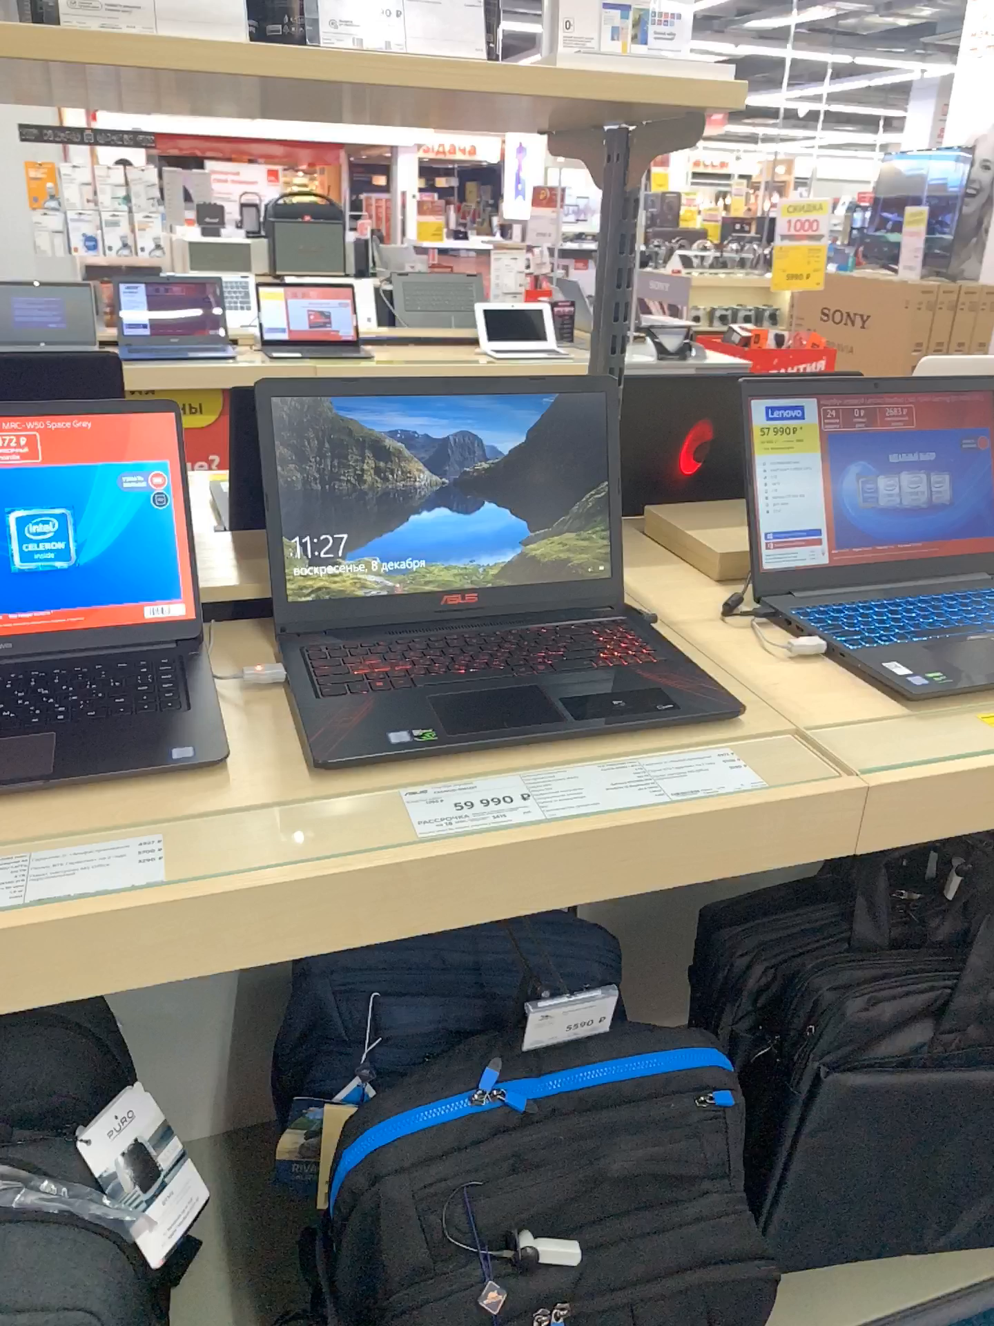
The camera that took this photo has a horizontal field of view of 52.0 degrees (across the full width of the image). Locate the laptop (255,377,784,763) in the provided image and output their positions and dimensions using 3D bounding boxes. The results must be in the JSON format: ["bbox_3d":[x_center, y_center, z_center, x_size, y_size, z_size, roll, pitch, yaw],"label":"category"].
[{"bbox_3d":[-0.007,-0.111,0.909,0.366,0.229,0.318,-5,25,-17],"label":"laptop"}]
